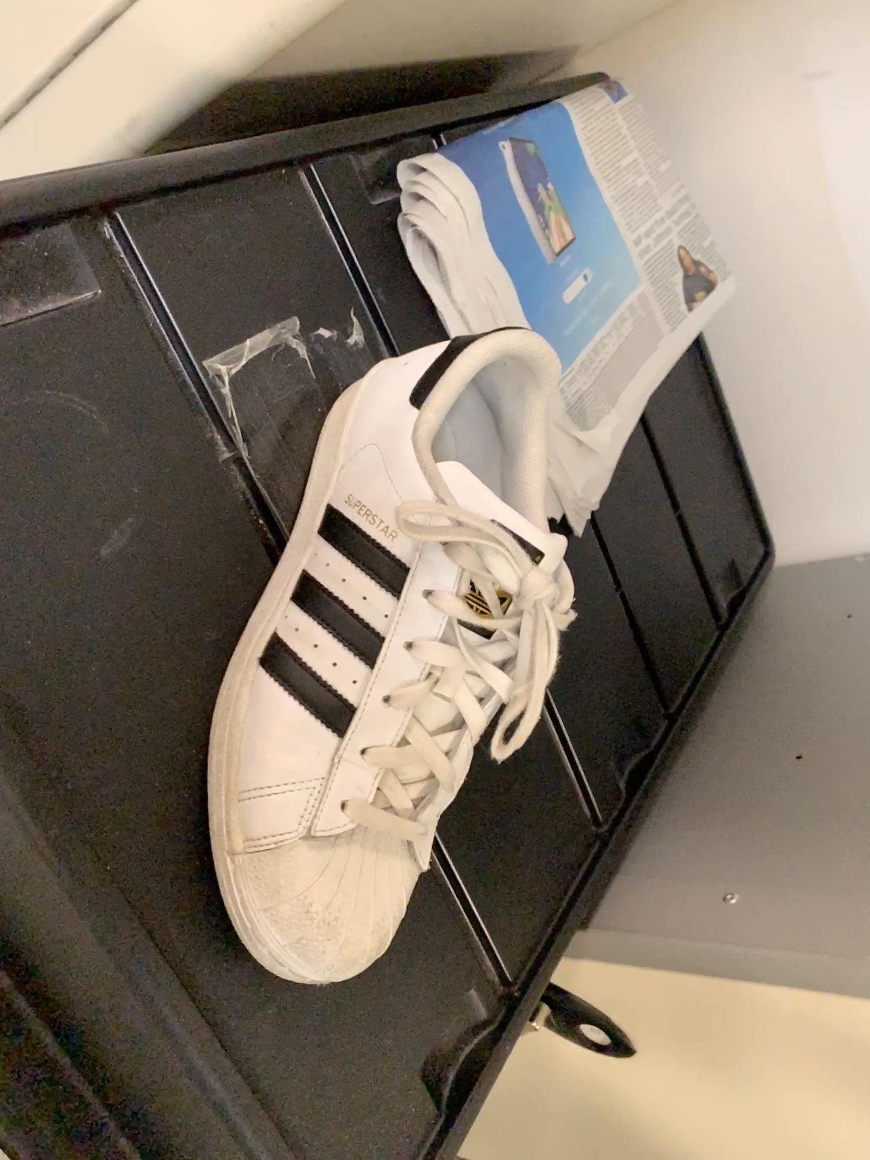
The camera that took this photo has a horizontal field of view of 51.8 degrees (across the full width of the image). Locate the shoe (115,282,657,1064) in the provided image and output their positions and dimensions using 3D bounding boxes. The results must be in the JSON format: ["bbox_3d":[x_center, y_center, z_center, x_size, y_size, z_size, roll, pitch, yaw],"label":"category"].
[{"bbox_3d":[-0.005,0.030,0.333,0.104,0.092,0.243,35,64,-41],"label":"shoe"}]
